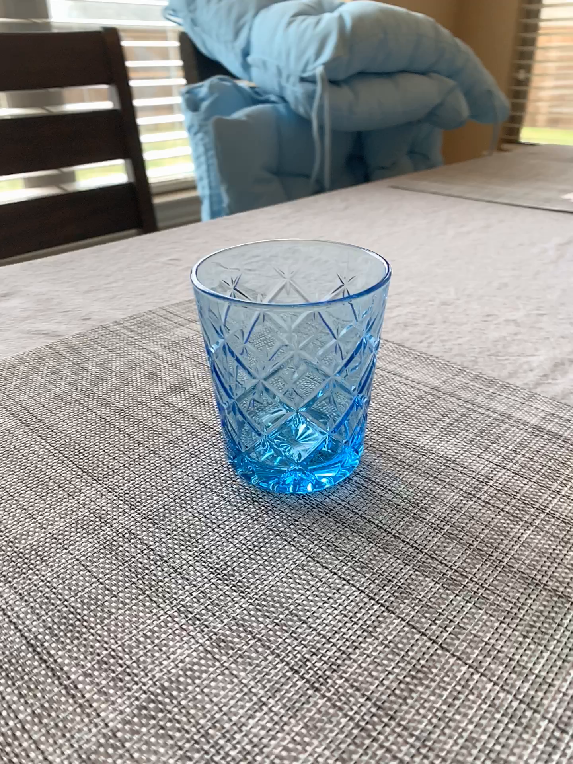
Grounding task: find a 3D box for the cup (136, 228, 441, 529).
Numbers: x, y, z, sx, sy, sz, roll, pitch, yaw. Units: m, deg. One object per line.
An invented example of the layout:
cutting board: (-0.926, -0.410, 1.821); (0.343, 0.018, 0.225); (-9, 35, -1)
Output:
cup: (0.000, -0.011, 0.268); (0.088, 0.085, 0.093); (0, 29, 0)
